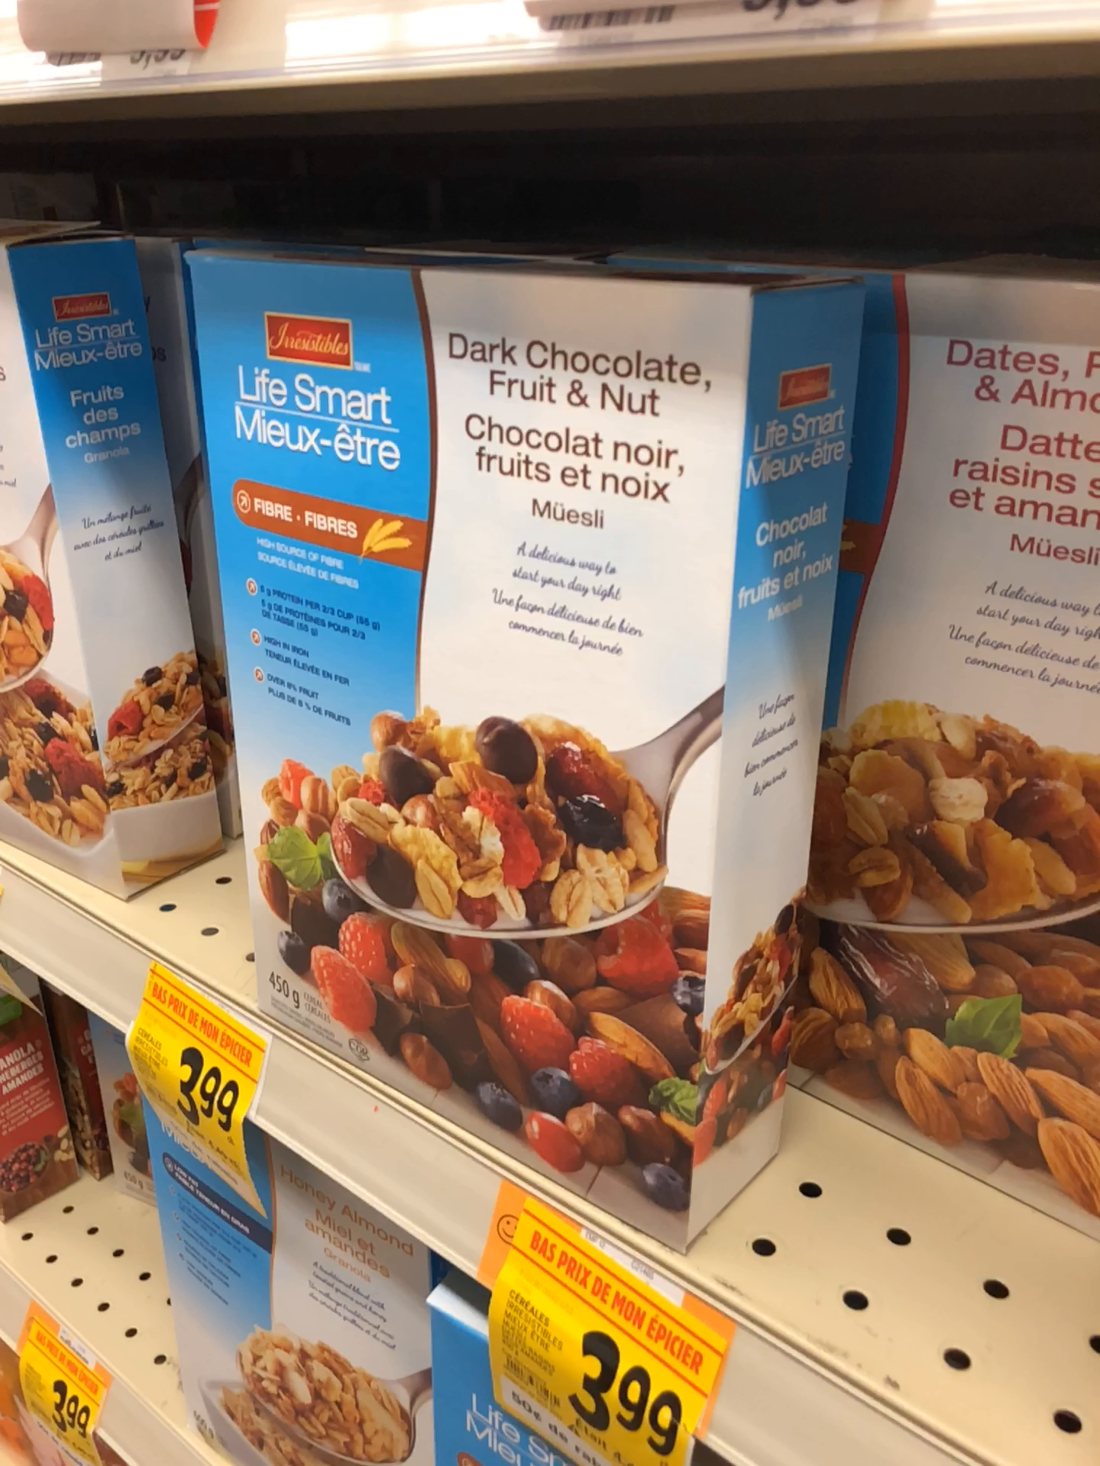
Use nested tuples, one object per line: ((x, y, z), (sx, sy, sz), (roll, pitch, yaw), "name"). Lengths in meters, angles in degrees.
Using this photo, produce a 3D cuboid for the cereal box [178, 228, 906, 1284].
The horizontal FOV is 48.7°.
((-0.011, -0.002, 0.321), (0.170, 0.238, 0.050), (18, 29, 35), "cereal box")
